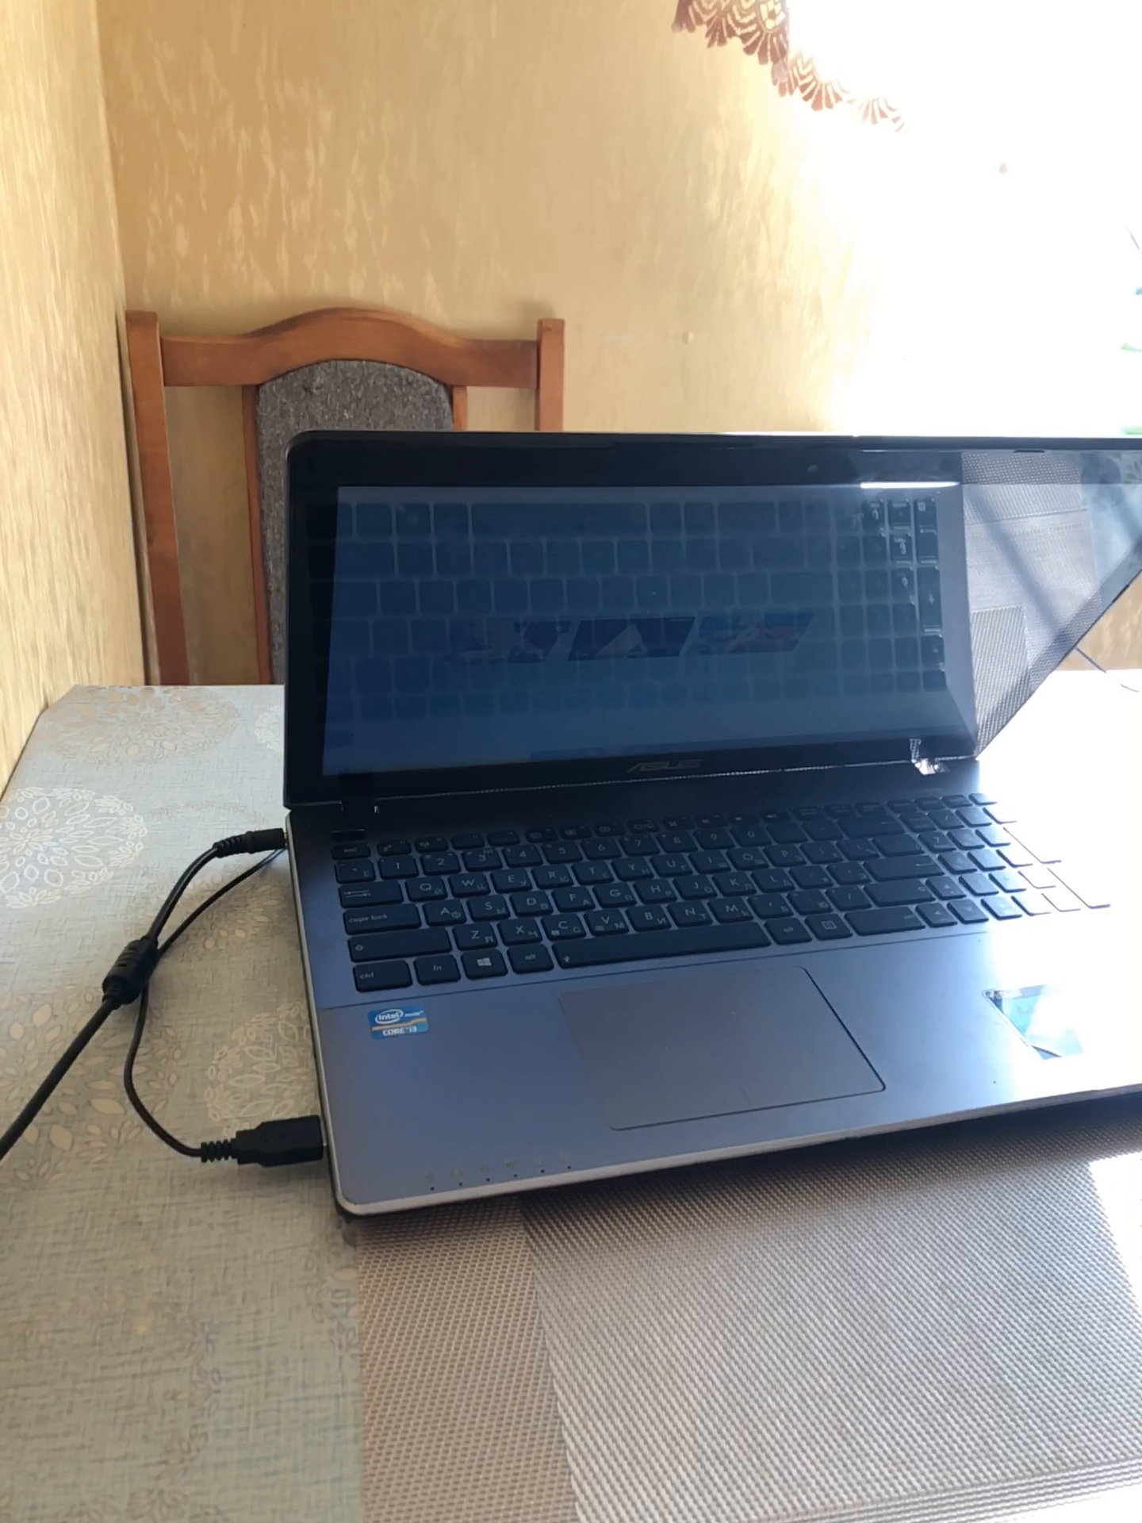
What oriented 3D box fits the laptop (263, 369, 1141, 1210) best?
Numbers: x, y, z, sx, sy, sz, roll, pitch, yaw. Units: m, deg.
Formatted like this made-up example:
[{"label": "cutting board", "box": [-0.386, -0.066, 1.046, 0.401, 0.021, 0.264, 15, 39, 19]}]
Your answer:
[{"label": "laptop", "box": [0.084, -0.025, 0.485, 0.370, 0.196, 0.243, -5, 28, -16]}]
